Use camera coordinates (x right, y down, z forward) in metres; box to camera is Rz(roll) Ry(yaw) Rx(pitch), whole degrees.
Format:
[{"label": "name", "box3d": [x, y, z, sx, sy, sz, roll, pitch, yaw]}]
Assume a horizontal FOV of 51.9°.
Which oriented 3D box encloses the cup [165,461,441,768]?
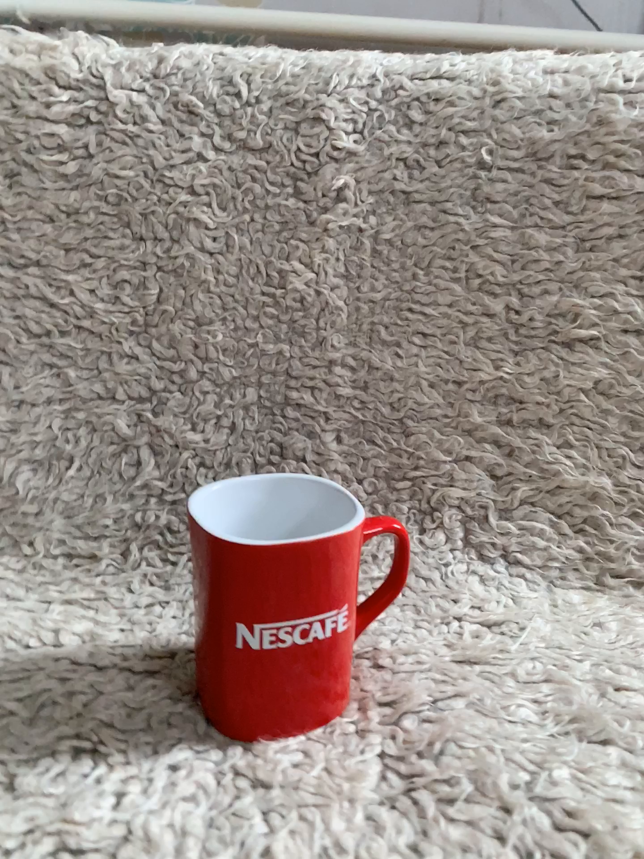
[{"label": "cup", "box3d": [-0.014, 0.091, 0.367, 0.122, 0.110, 0.088, -6, 18, -26]}]
